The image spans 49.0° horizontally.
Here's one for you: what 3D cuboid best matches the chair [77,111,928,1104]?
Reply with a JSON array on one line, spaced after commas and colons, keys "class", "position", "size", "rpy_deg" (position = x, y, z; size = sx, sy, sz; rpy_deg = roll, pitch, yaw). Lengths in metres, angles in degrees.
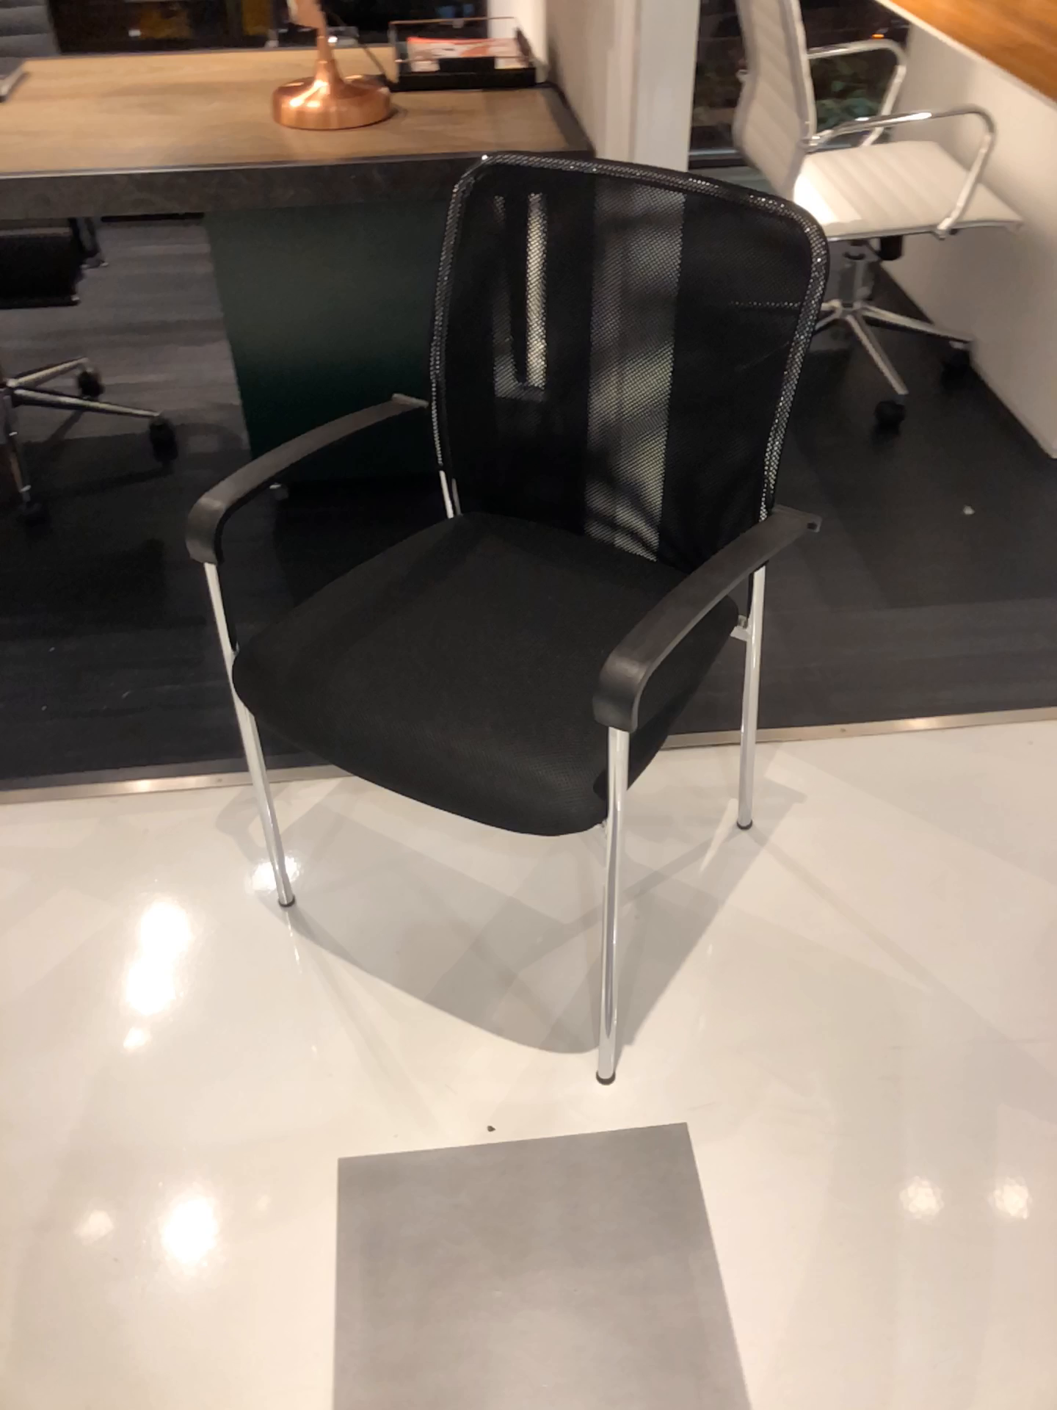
[{"class": "chair", "position": [-0.001, -0.113, 1.333], "size": [0.591, 0.863, 0.513], "rpy_deg": [21, 45, 24]}]
